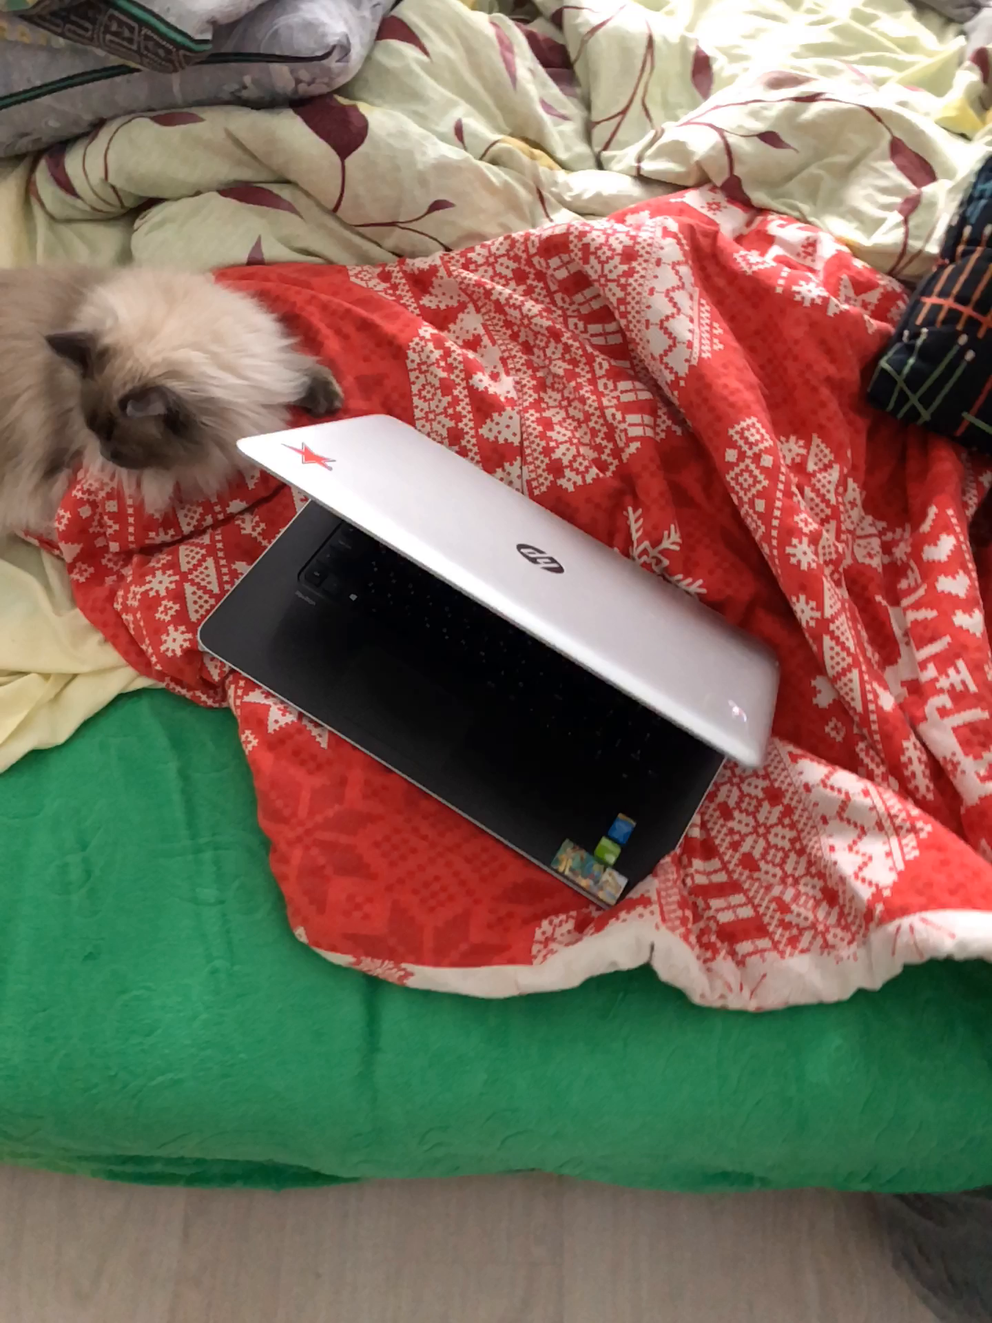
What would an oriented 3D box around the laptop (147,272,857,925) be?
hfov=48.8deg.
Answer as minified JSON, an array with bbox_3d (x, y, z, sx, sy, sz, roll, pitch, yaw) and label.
[{"bbox_3d":[0.009,-0.050,0.841,0.413,0.176,0.276,32,66,8],"label":"laptop"}]
